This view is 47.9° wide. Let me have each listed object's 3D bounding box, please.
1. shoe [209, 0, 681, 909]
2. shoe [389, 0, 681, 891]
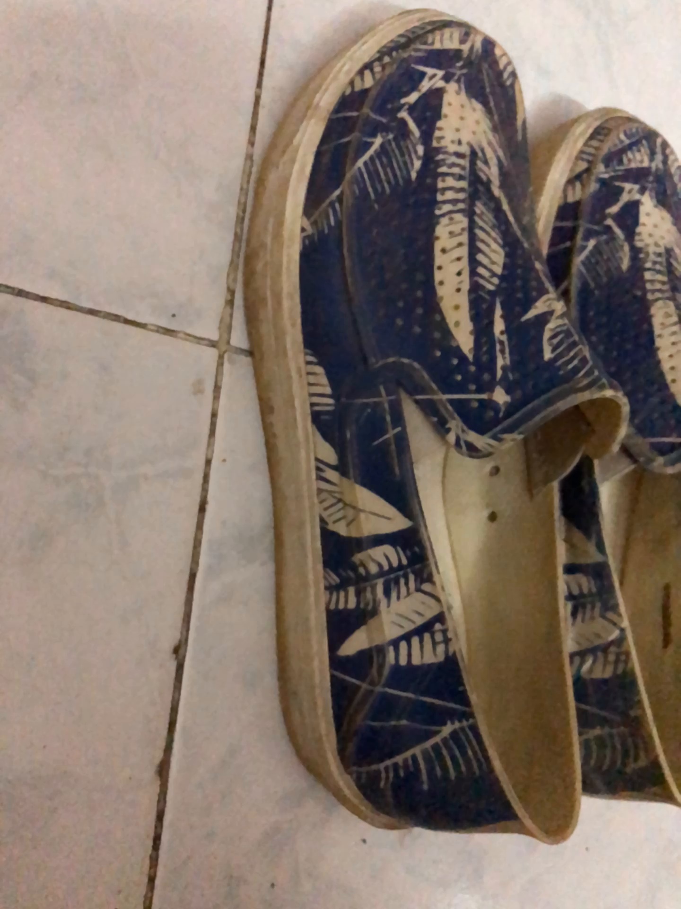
[{"bbox_3d":[0.033,-0.029,0.254,0.110,0.100,0.310,4,84,-33],"label":"shoe"},{"bbox_3d":[0.115,-0.009,0.303,0.110,0.100,0.300,15,79,-24],"label":"shoe"}]
